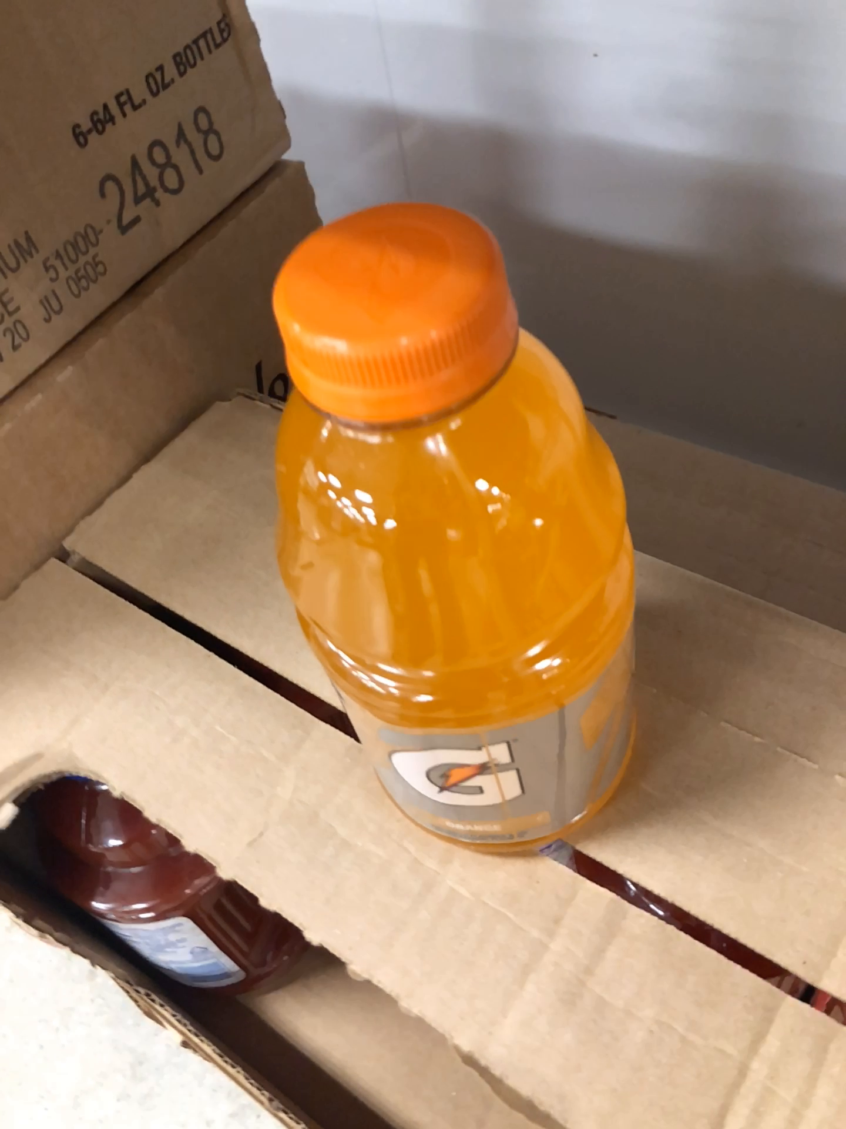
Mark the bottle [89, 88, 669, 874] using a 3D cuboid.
[{"bbox_3d":[0.010,-0.004,0.244,0.092,0.180,0.100,-6,50,7],"label":"bottle"}]
